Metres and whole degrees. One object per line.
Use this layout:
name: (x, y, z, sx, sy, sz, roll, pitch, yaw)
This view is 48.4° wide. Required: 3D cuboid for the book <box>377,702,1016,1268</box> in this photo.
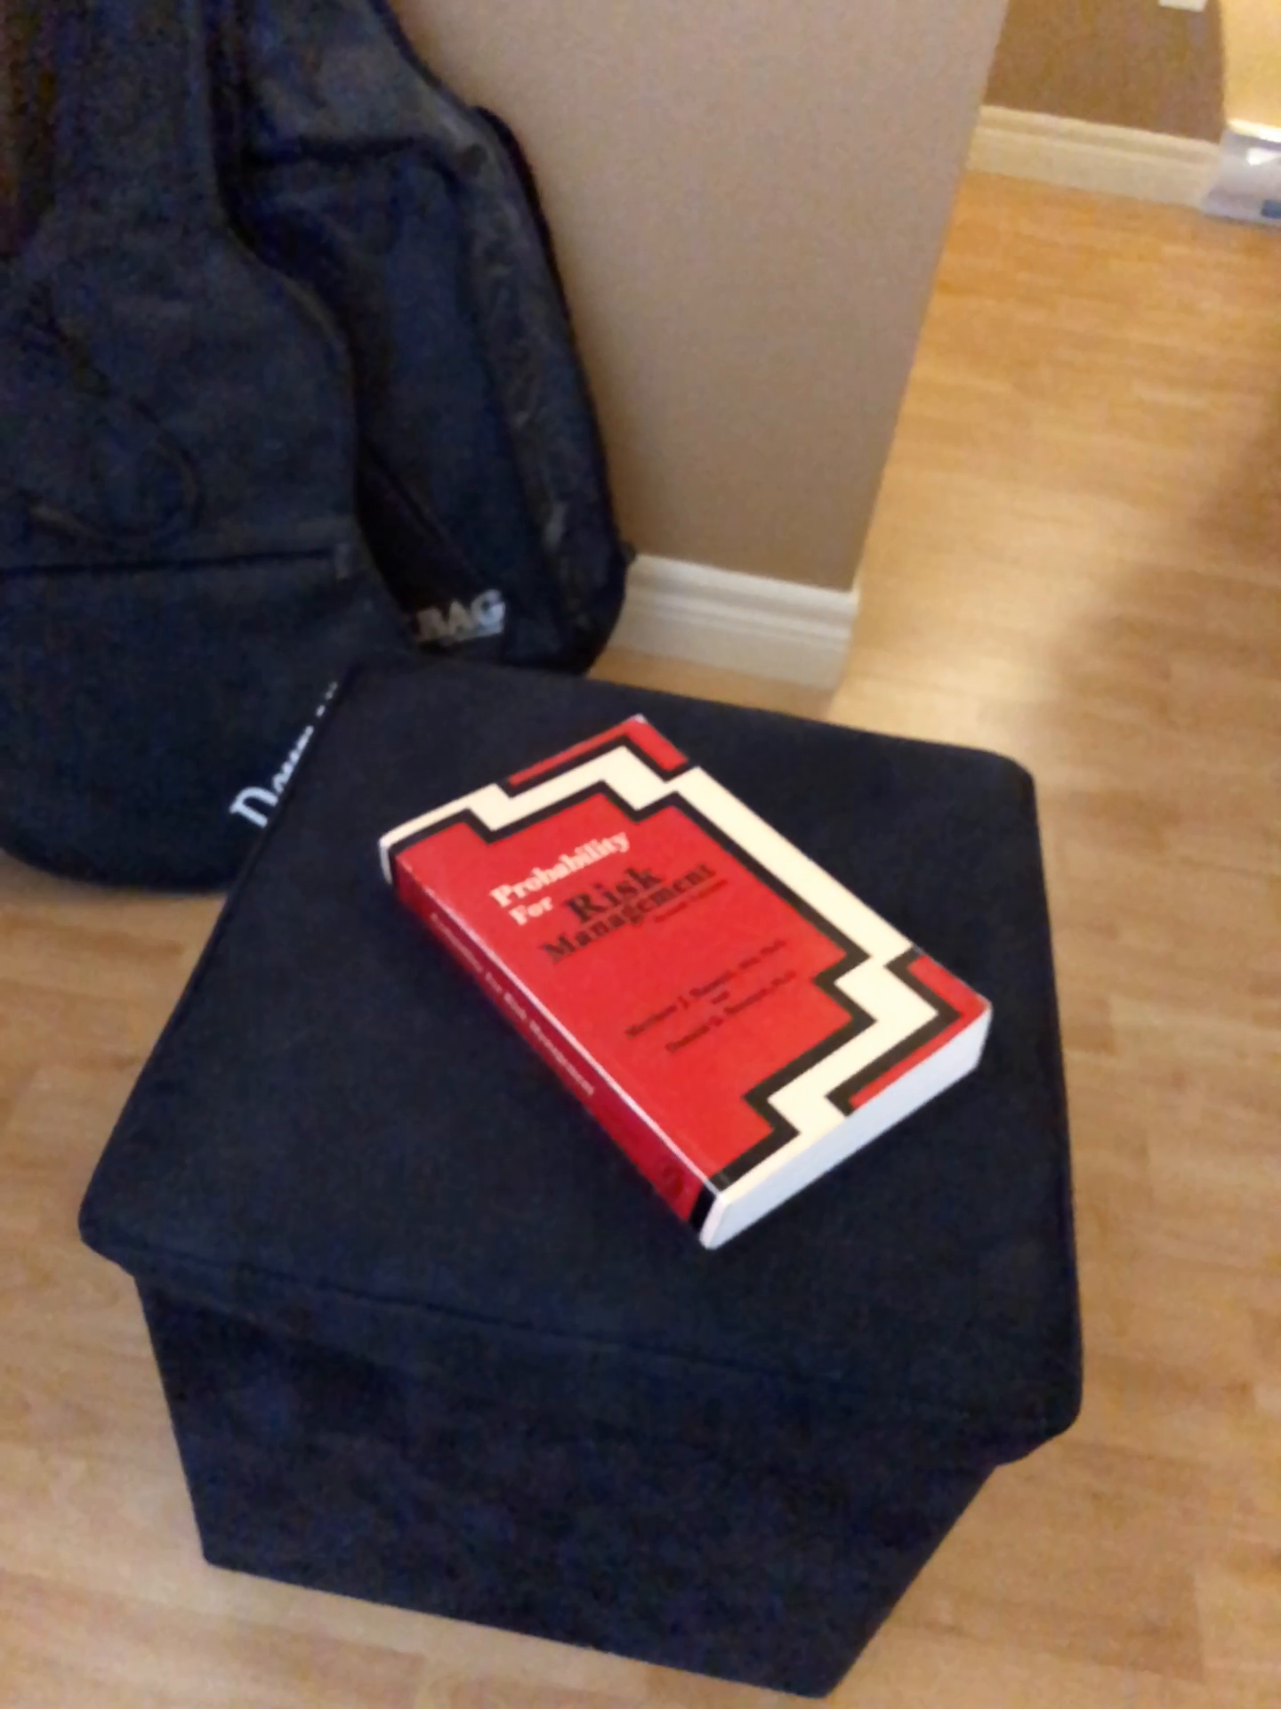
book: (0.016, 0.037, 0.576, 0.150, 0.041, 0.215, -26, 54, -31)
